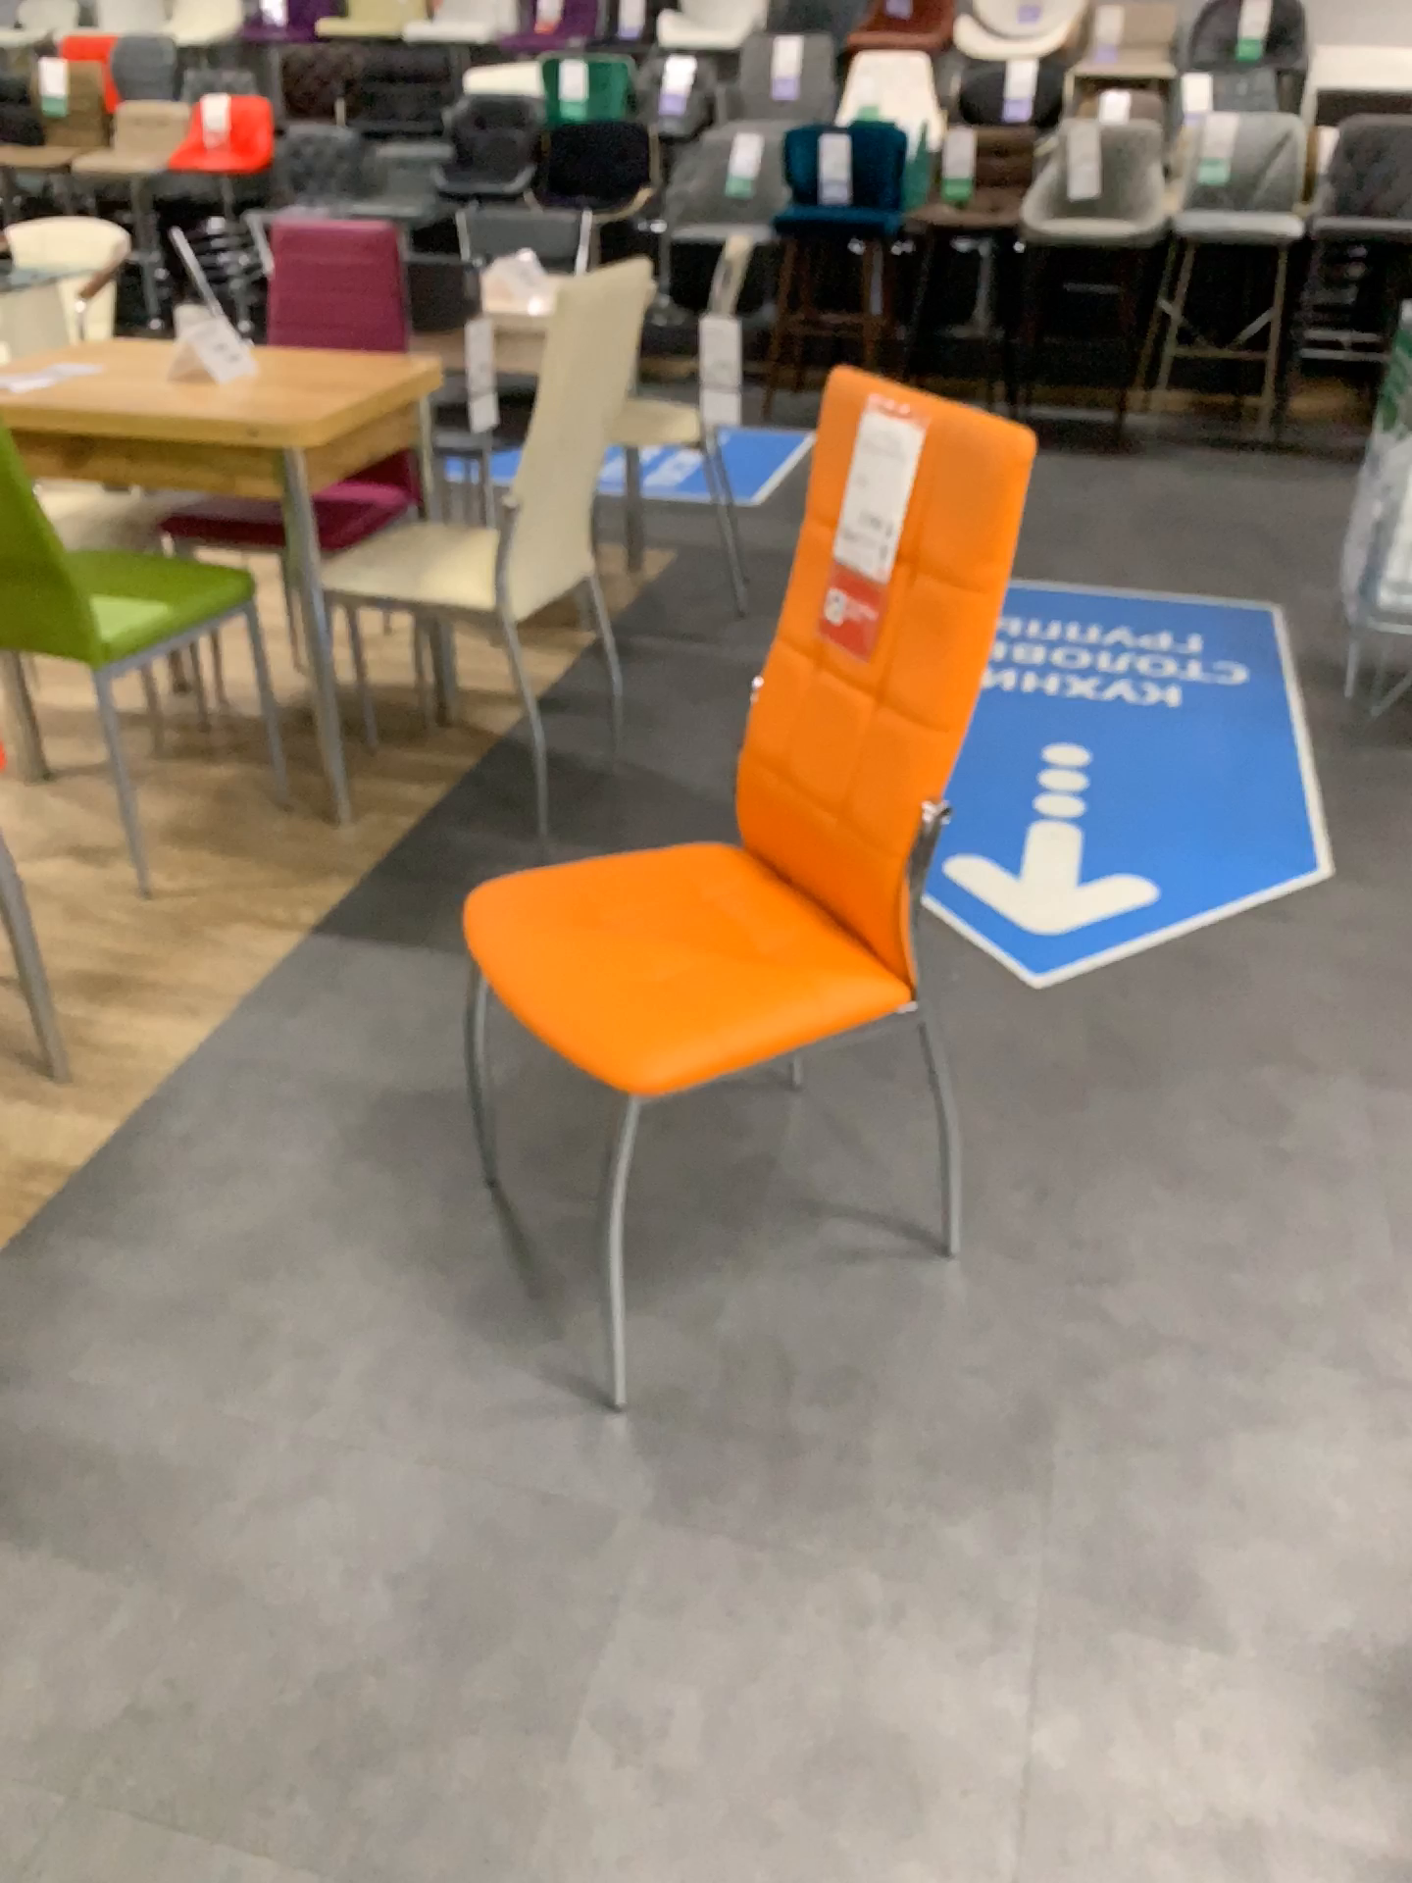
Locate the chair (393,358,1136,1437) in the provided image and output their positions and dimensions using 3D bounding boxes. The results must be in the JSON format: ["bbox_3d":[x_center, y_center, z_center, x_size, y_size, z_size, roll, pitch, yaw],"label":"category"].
[{"bbox_3d":[0.028,-0.062,1.658,0.541,1.014,0.492,-14,34,-23],"label":"chair"}]
